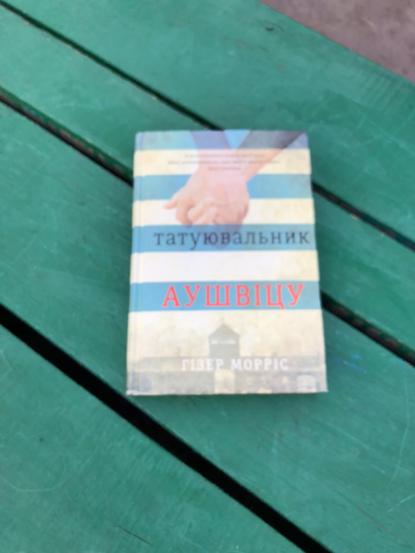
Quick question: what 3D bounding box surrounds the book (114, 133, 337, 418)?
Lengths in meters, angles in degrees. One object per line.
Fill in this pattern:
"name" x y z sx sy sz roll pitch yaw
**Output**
"book" 0.011 -0.007 0.358 0.151 0.025 0.218 -1 74 0
